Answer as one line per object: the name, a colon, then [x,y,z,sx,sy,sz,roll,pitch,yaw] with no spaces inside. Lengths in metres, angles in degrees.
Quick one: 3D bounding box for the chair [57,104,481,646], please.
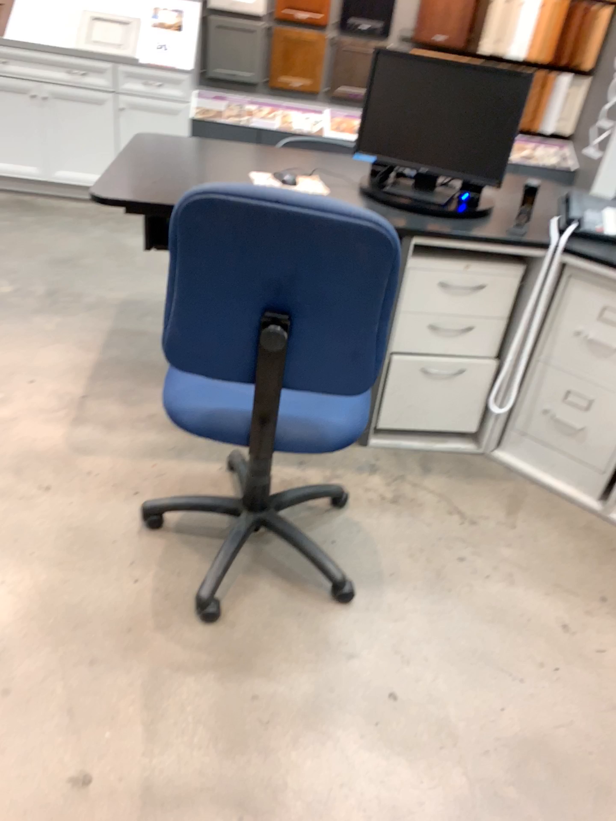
chair: [-0.109,-0.091,1.519,0.658,1.035,0.696,8,32,-1]
